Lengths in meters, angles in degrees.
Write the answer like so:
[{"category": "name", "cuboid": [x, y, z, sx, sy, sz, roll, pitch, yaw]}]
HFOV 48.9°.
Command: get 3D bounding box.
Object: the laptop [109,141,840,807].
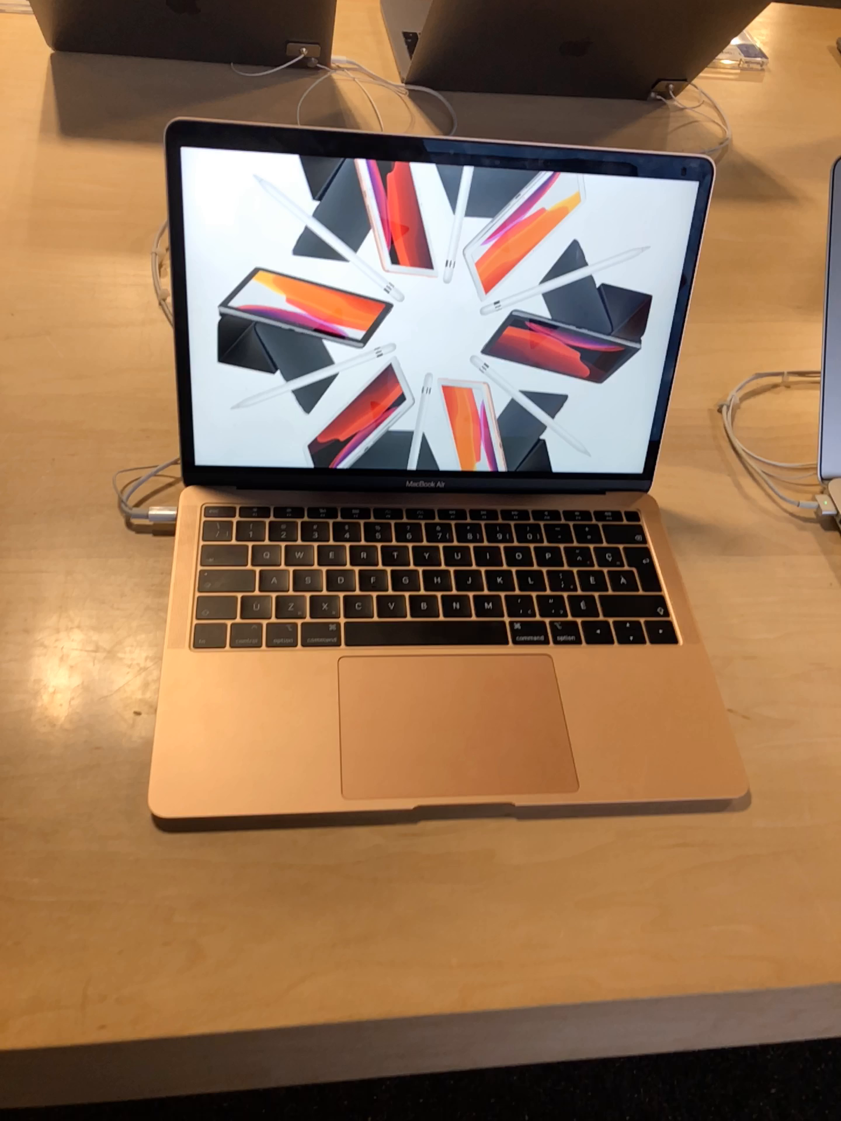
[{"category": "laptop", "cuboid": [0.025, -0.049, 0.474, 0.291, 0.183, 0.284, 1, 49, -7]}]
